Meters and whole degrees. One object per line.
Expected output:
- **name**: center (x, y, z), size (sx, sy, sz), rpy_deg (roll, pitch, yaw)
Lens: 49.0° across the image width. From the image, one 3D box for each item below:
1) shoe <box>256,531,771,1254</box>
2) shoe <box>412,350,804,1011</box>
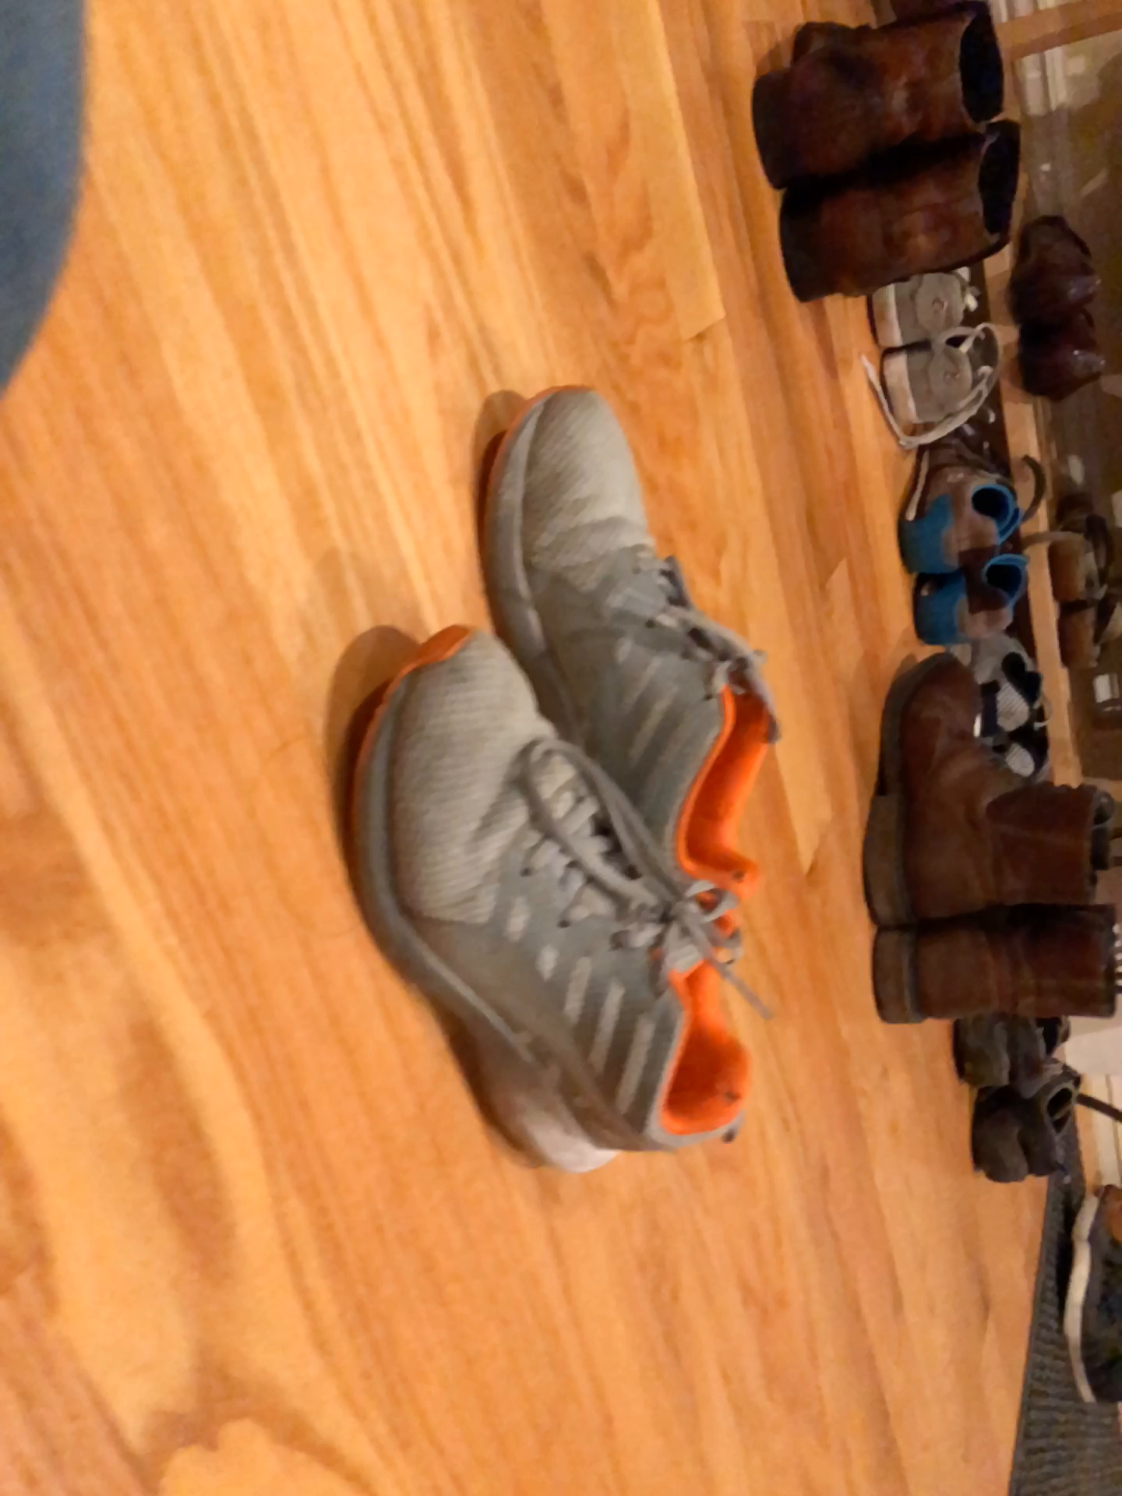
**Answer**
- **shoe**: center (-0.001, 0.060, 0.468), size (0.111, 0.080, 0.250), rpy_deg (-57, 134, -48)
- **shoe**: center (0.026, -0.027, 0.527), size (0.101, 0.099, 0.250), rpy_deg (-23, 106, -60)
